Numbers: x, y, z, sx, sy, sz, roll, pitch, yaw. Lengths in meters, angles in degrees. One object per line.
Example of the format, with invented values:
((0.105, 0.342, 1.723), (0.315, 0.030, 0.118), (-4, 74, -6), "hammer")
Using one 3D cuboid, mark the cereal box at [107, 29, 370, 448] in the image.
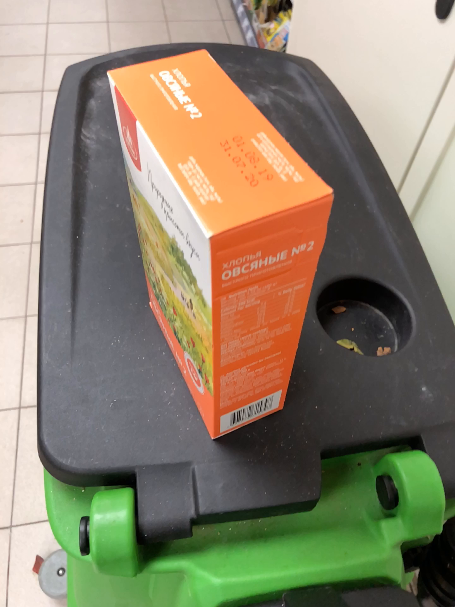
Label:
((-0.007, -0.026, 0.317), (0.060, 0.209, 0.151), (-20, 57, -17), "cereal box")
